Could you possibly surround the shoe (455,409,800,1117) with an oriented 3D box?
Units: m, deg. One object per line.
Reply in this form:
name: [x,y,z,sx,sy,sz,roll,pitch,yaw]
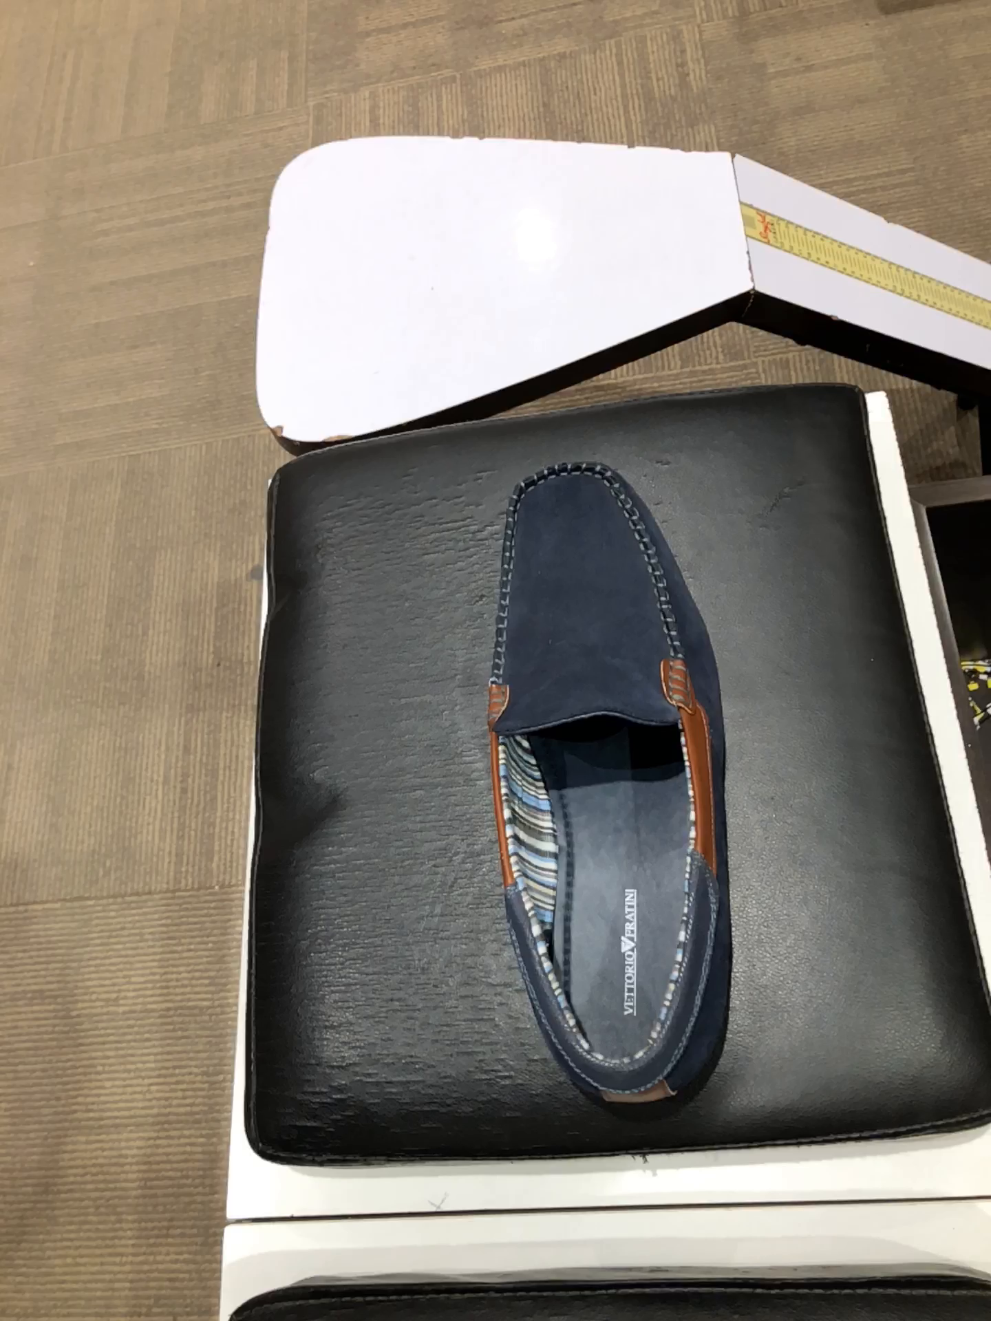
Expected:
shoe: [0.054,0.045,0.494,0.110,0.100,0.292,-8,66,9]
